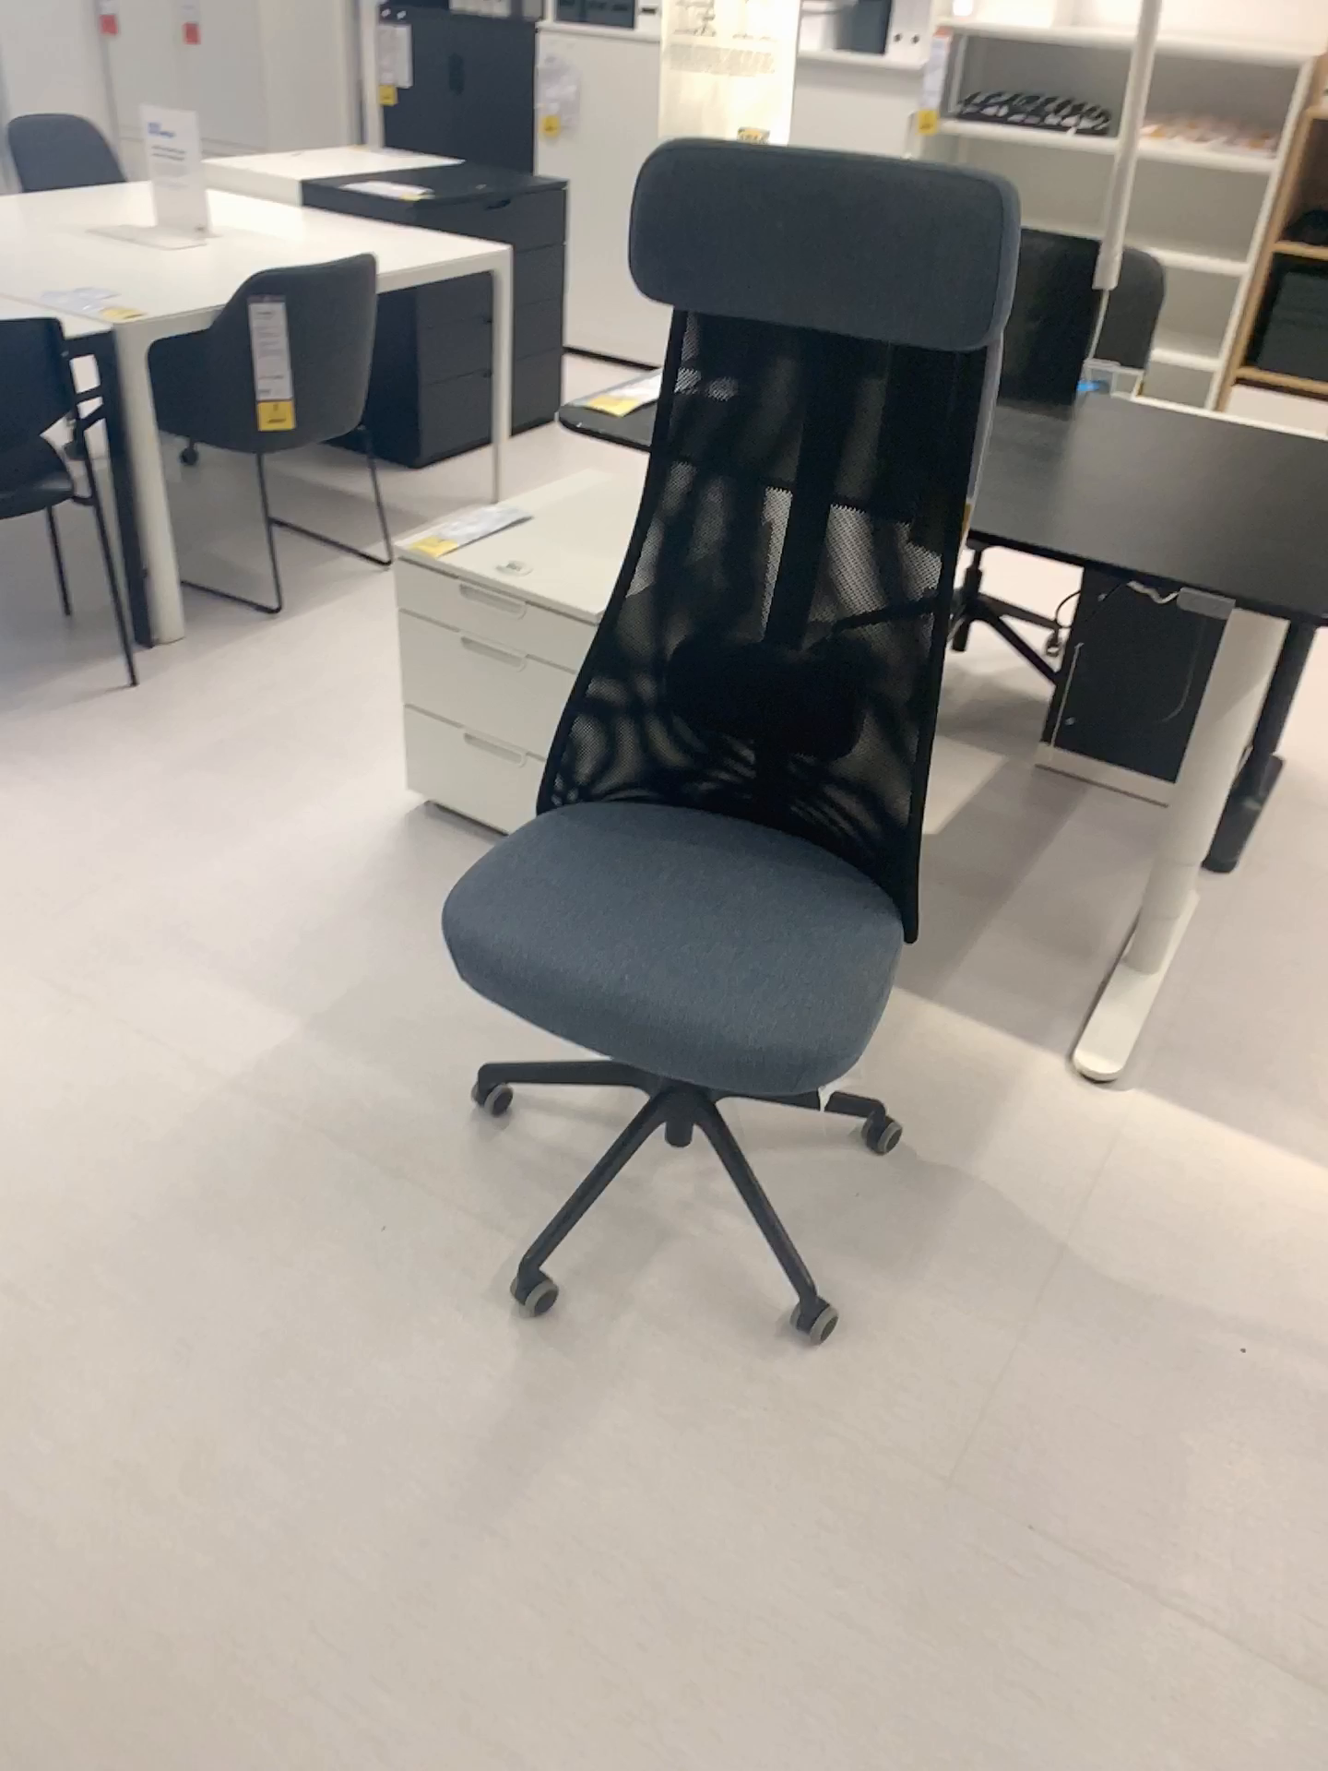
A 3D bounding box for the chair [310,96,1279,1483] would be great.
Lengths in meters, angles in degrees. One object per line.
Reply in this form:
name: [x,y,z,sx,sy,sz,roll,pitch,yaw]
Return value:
chair: [0.131,-0.128,1.581,0.641,1.304,0.732,19,36,21]
